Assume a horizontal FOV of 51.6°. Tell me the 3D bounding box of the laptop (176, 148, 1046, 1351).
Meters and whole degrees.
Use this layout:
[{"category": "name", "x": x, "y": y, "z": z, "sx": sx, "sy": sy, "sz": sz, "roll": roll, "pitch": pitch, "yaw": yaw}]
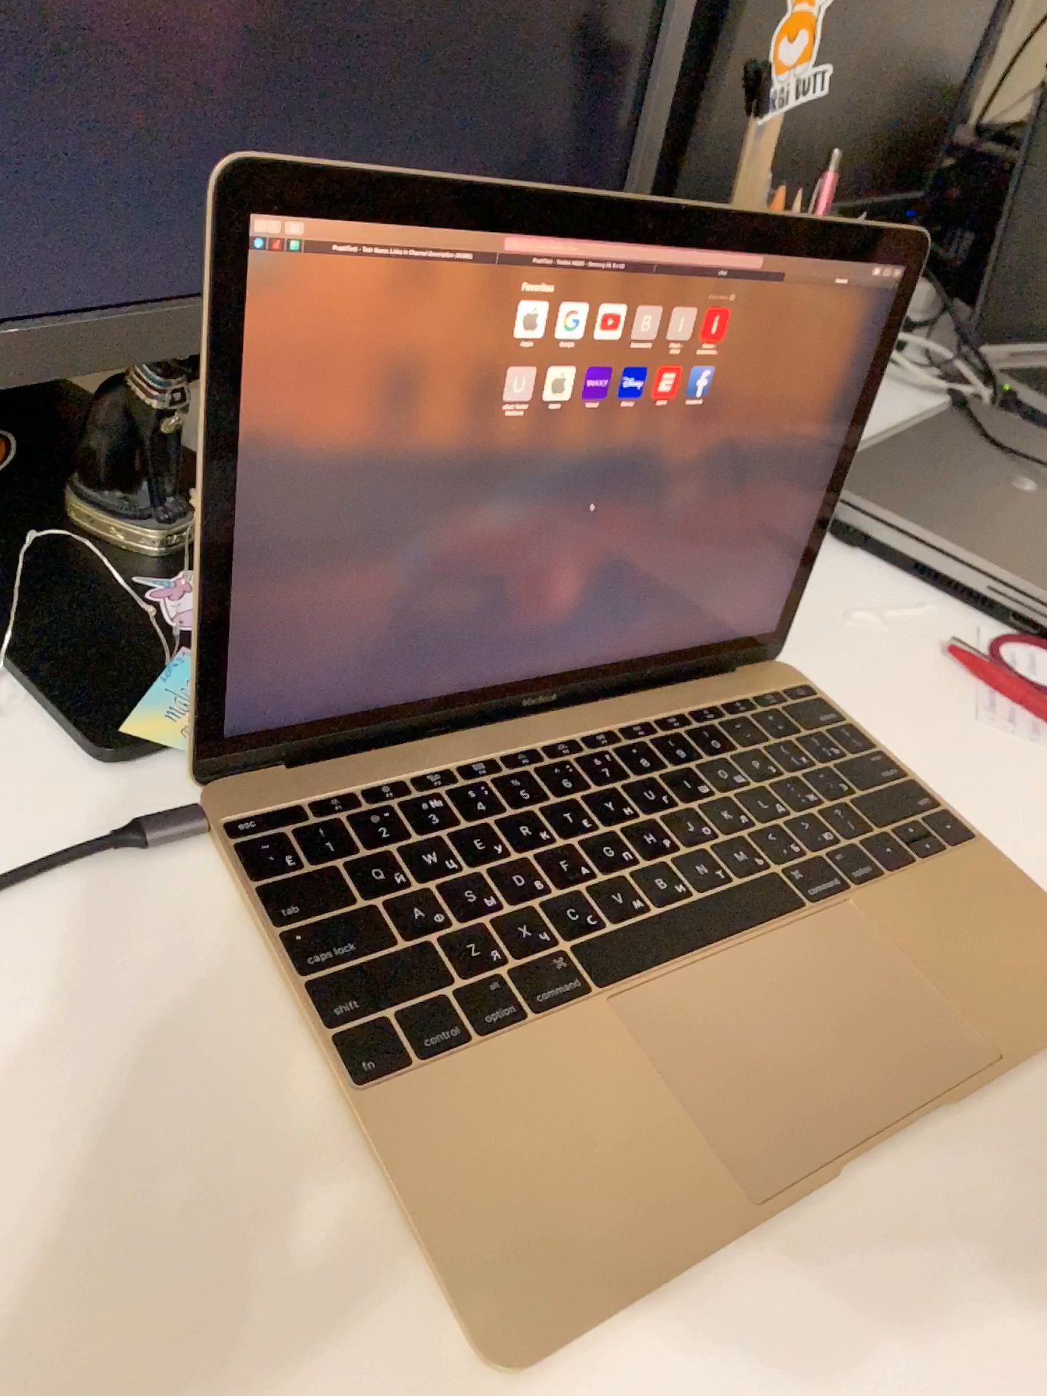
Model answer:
[{"category": "laptop", "x": 0.066, "y": -0.016, "z": 0.295, "sx": 0.248, "sy": 0.168, "sz": 0.198, "roll": -12, "pitch": 44, "yaw": -34}]
